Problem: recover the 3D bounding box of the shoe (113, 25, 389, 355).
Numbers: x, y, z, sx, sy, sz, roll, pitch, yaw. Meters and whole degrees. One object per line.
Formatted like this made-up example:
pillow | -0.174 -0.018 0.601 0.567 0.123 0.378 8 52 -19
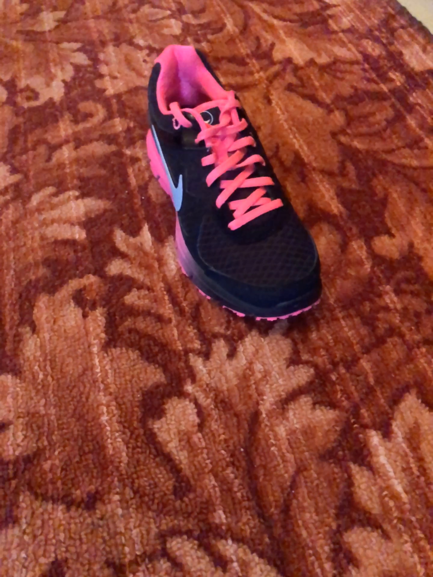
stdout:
shoe | 0.009 -0.092 0.386 0.110 0.100 0.251 -17 57 -12
